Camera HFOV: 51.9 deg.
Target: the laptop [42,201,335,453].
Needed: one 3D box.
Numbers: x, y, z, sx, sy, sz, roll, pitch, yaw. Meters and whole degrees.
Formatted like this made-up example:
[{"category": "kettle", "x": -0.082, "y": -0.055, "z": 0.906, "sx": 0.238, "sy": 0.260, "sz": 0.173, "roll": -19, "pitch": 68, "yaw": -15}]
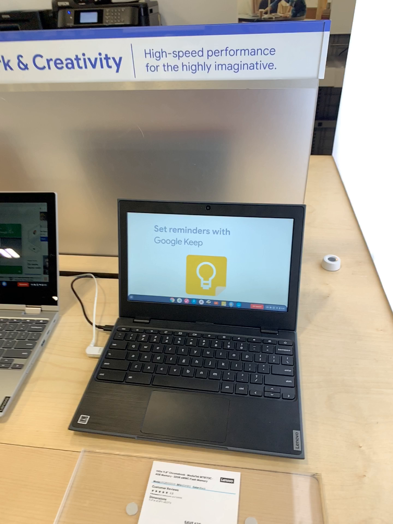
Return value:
[{"category": "laptop", "x": 0.010, "y": 0.060, "z": 0.529, "sx": 0.275, "sy": 0.170, "sz": 0.267, "roll": 3, "pitch": 35, "yaw": 10}]
